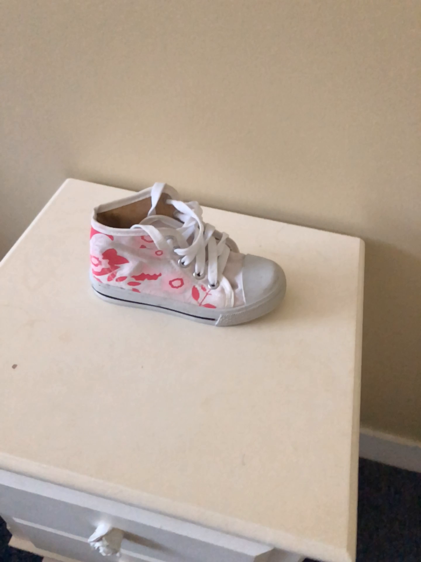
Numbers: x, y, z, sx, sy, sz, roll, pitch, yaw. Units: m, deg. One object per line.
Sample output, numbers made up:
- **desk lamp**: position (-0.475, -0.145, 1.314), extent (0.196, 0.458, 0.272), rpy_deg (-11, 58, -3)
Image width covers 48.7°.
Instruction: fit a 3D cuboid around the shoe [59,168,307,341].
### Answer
- **shoe**: position (-0.019, -0.023, 0.415), extent (0.190, 0.099, 0.080), rpy_deg (8, 46, 3)
